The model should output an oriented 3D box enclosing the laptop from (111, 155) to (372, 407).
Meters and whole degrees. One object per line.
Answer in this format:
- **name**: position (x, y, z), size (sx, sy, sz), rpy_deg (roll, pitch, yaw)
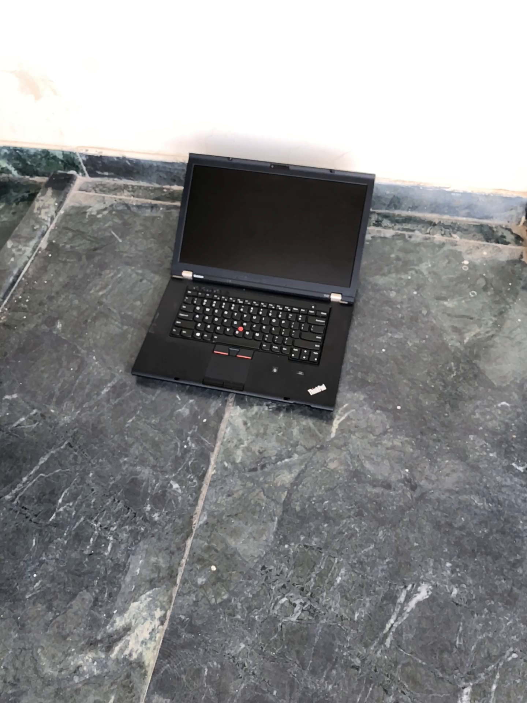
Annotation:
- **laptop**: position (-0.013, -0.129, 0.928), size (0.311, 0.115, 0.376), rpy_deg (9, 58, 10)
